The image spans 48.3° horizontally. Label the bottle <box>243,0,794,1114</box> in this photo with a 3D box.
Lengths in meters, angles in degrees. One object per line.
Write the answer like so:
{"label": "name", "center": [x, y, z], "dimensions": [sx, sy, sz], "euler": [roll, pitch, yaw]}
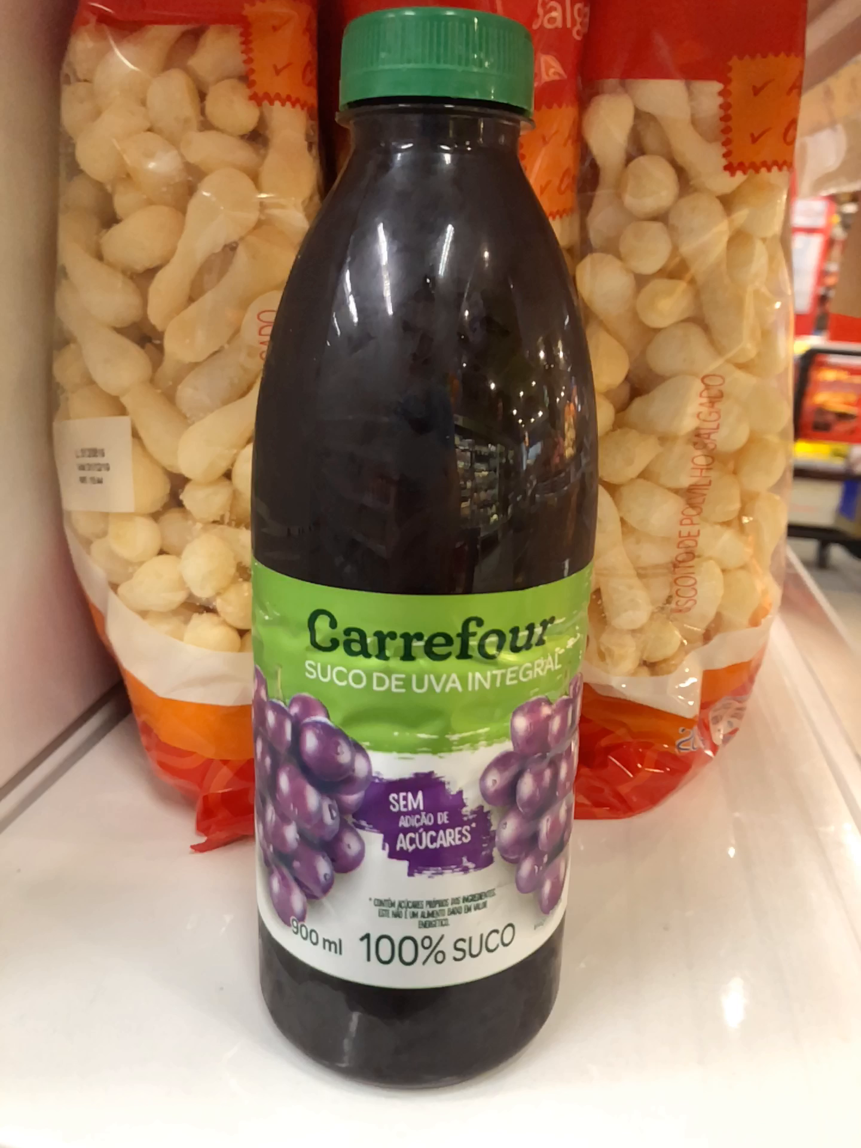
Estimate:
{"label": "bottle", "center": [0.004, -0.001, 0.226], "dimensions": [0.090, 0.229, 0.080], "euler": [1, 17, -9]}
